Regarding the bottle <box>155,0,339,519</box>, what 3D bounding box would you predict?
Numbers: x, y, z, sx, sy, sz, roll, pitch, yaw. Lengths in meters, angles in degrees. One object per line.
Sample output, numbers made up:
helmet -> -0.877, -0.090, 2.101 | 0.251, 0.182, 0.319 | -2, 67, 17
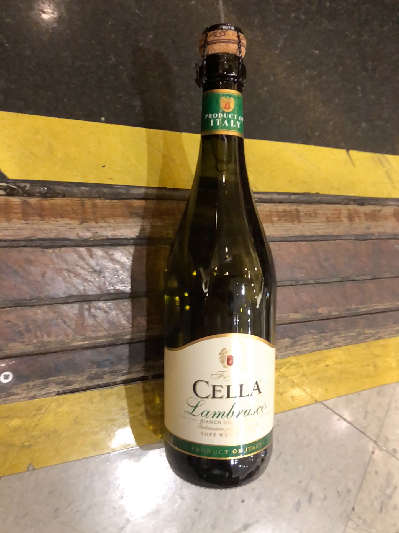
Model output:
bottle -> 0.027, -0.003, 0.300 | 0.090, 0.060, 0.310 | -1, 98, -27
